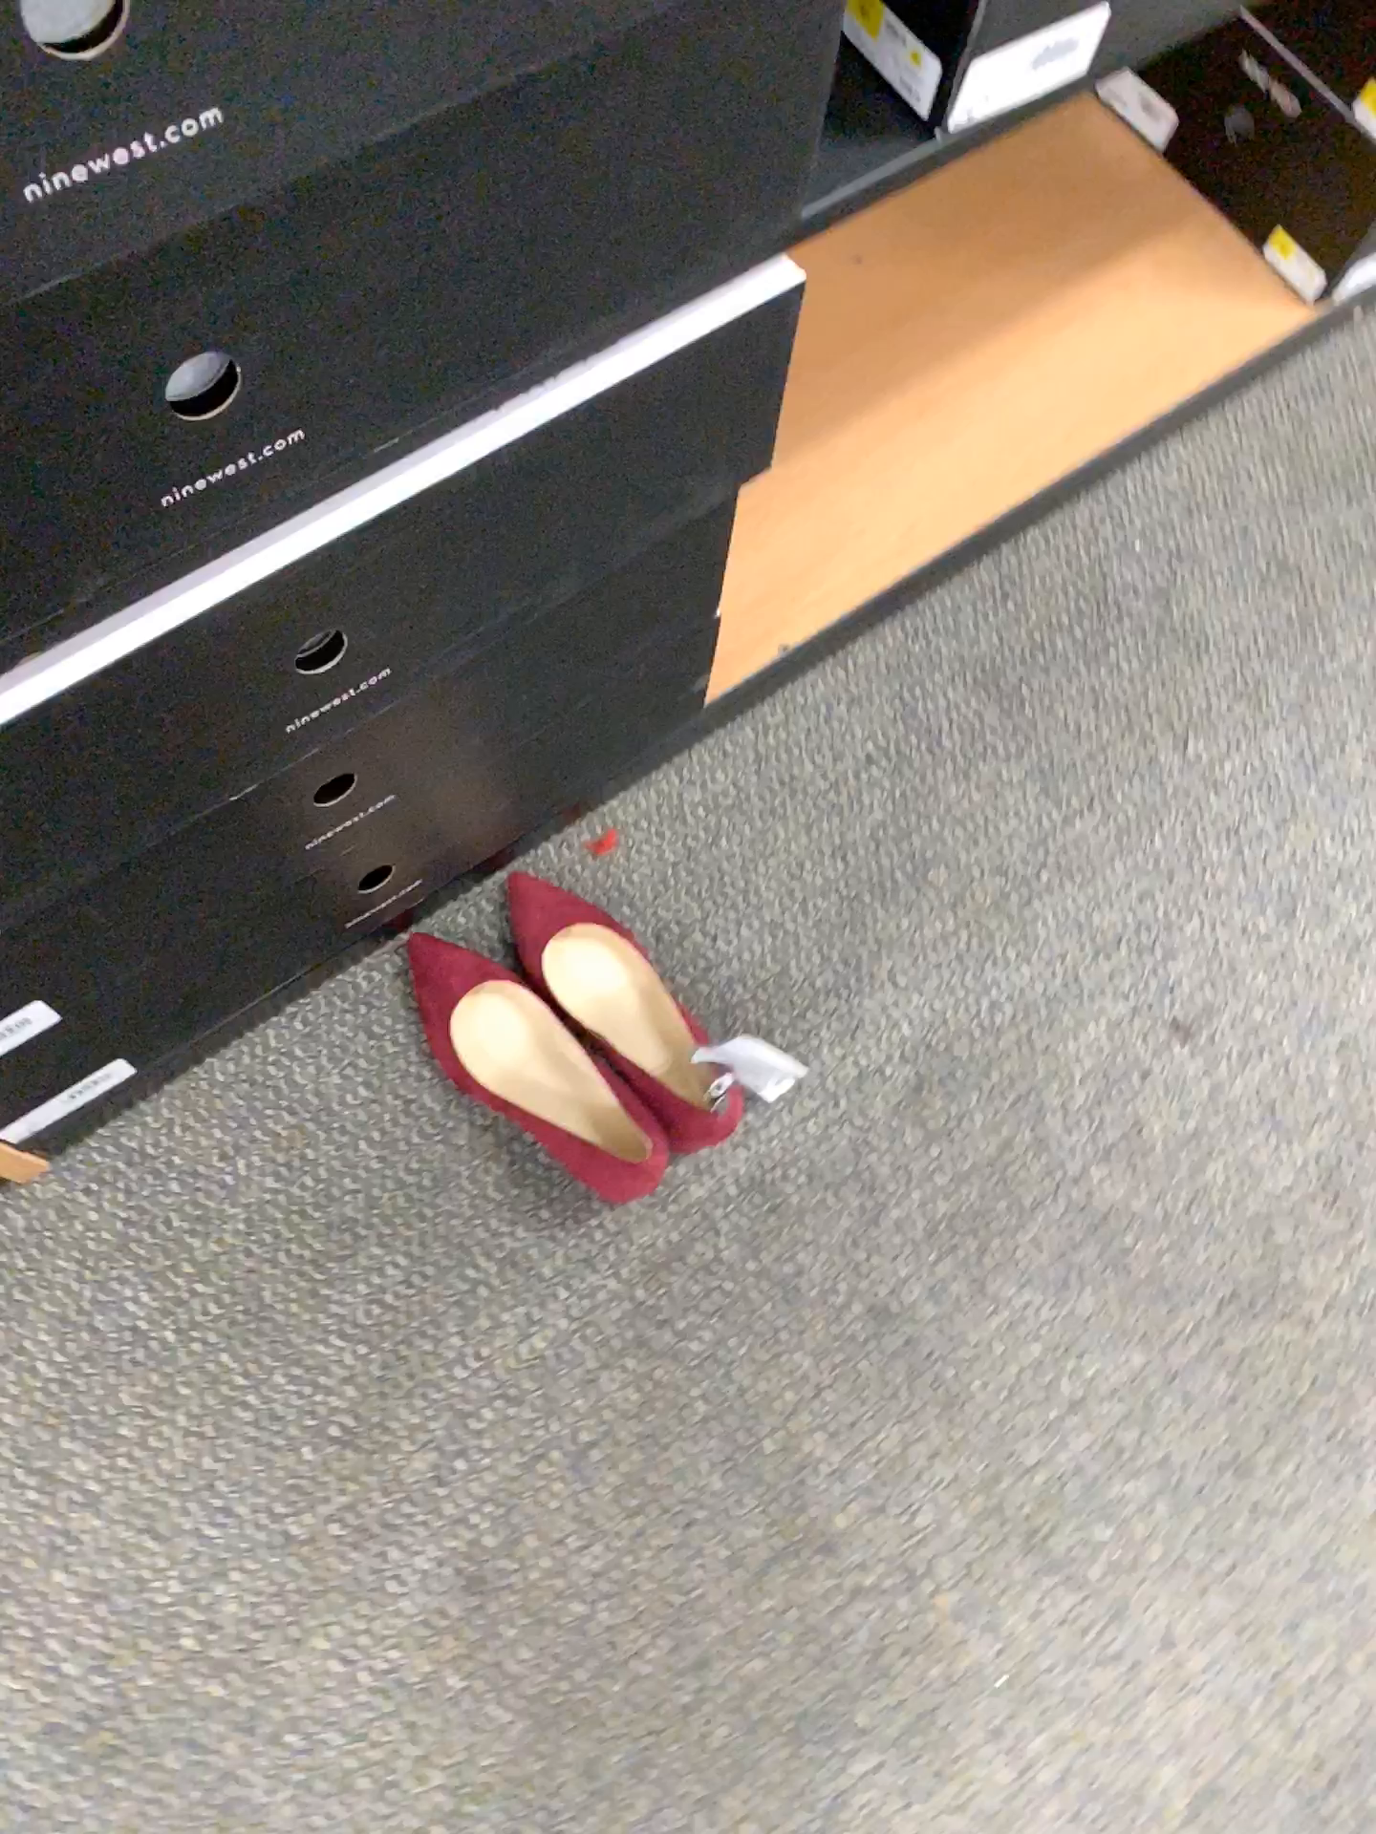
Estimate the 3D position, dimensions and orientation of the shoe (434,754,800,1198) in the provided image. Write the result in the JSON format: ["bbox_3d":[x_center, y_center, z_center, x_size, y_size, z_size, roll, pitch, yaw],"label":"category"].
[{"bbox_3d":[-0.055,0.049,0.947,0.090,0.200,0.250,-35,79,-16],"label":"shoe"}]

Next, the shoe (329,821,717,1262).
[{"bbox_3d":[-0.109,0.091,0.922,0.090,0.200,0.250,-39,80,-16],"label":"shoe"}]
